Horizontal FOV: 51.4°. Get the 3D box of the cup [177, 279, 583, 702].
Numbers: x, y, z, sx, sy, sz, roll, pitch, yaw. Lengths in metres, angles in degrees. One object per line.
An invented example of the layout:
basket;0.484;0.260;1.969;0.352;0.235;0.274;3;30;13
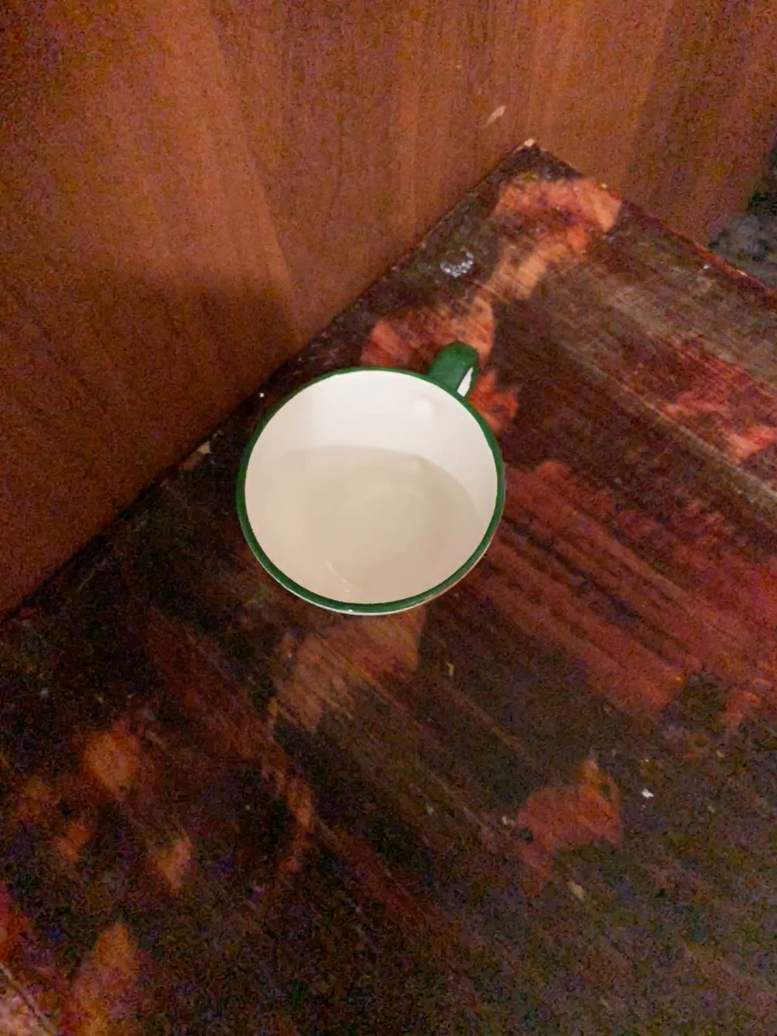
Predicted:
cup;0.000;-0.008;0.241;0.075;0.045;0.094;25;74;12
